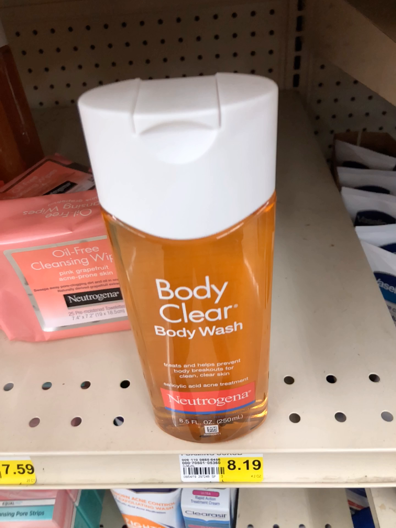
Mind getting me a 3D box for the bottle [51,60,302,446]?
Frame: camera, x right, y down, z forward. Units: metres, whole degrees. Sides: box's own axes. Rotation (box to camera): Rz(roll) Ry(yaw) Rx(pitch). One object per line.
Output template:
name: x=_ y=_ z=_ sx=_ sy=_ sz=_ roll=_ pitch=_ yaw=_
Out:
bottle: x=0.002 y=0.017 z=0.202 sx=0.070 sy=0.190 sz=0.045 roll=-3 pitch=42 yaw=4
